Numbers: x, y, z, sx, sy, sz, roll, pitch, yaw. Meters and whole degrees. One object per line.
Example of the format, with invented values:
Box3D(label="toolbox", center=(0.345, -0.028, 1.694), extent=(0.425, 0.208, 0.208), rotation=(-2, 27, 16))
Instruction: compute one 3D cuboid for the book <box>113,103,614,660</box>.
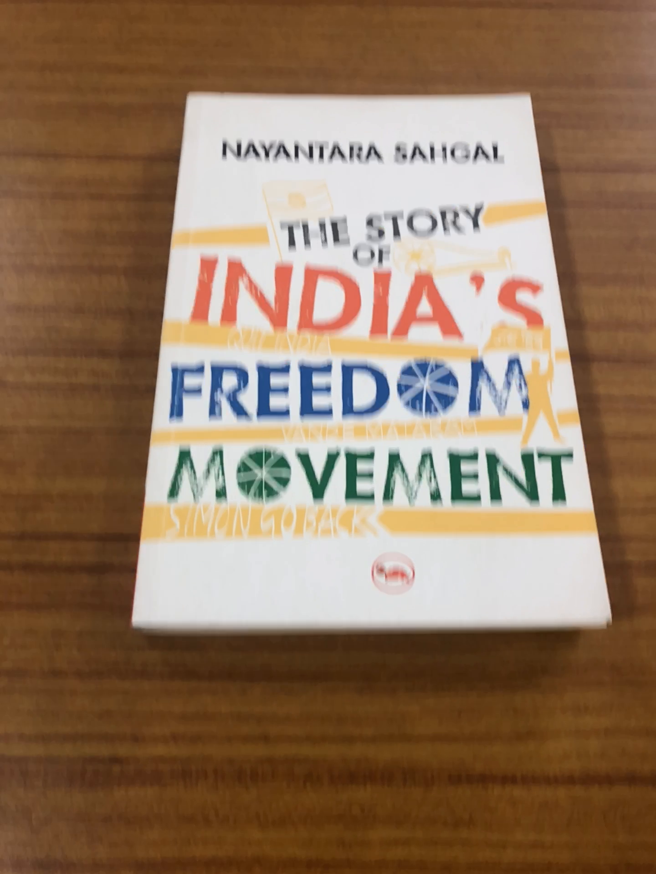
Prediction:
Box3D(label="book", center=(0.009, -0.027, 0.242), extent=(0.130, 0.030, 0.190), rotation=(0, 67, -1))
